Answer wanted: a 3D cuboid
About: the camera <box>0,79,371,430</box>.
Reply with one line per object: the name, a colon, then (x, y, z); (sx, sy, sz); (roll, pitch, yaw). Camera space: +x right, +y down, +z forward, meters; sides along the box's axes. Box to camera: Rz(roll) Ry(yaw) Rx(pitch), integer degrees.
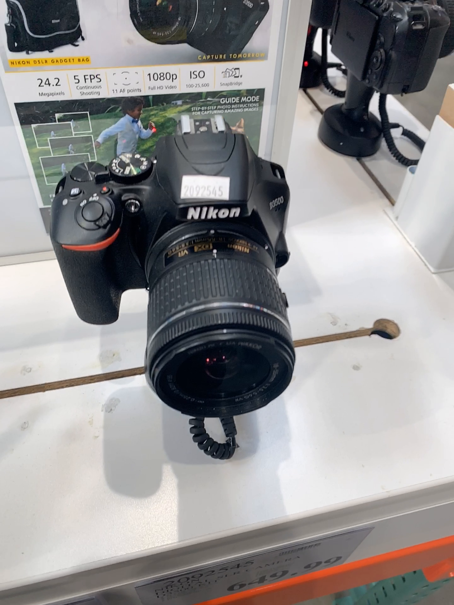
camera: (-0.022, -0.027, 0.222); (0.116, 0.099, 0.121); (-6, 47, -8)
